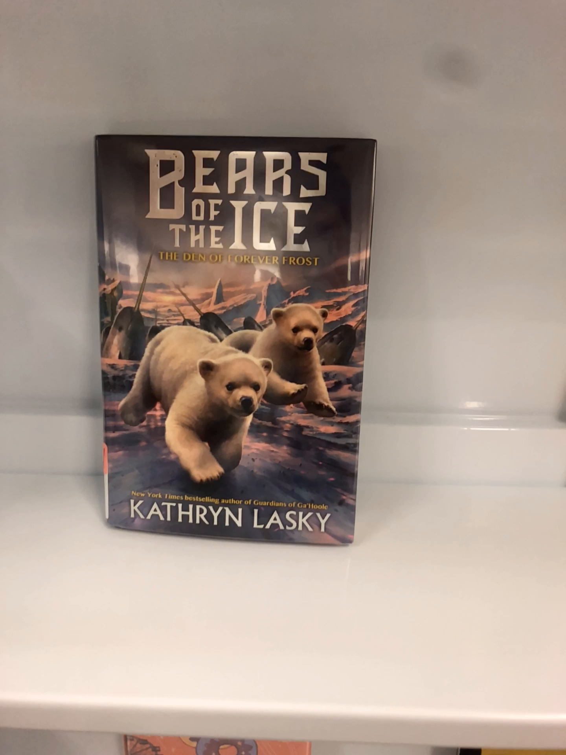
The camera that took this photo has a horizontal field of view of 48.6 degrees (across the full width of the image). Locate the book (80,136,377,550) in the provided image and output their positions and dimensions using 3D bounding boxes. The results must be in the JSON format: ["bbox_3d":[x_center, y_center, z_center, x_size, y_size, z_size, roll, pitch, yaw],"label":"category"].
[{"bbox_3d":[-0.029,-0.018,0.354,0.150,0.216,0.043,2,11,6],"label":"book"}]
